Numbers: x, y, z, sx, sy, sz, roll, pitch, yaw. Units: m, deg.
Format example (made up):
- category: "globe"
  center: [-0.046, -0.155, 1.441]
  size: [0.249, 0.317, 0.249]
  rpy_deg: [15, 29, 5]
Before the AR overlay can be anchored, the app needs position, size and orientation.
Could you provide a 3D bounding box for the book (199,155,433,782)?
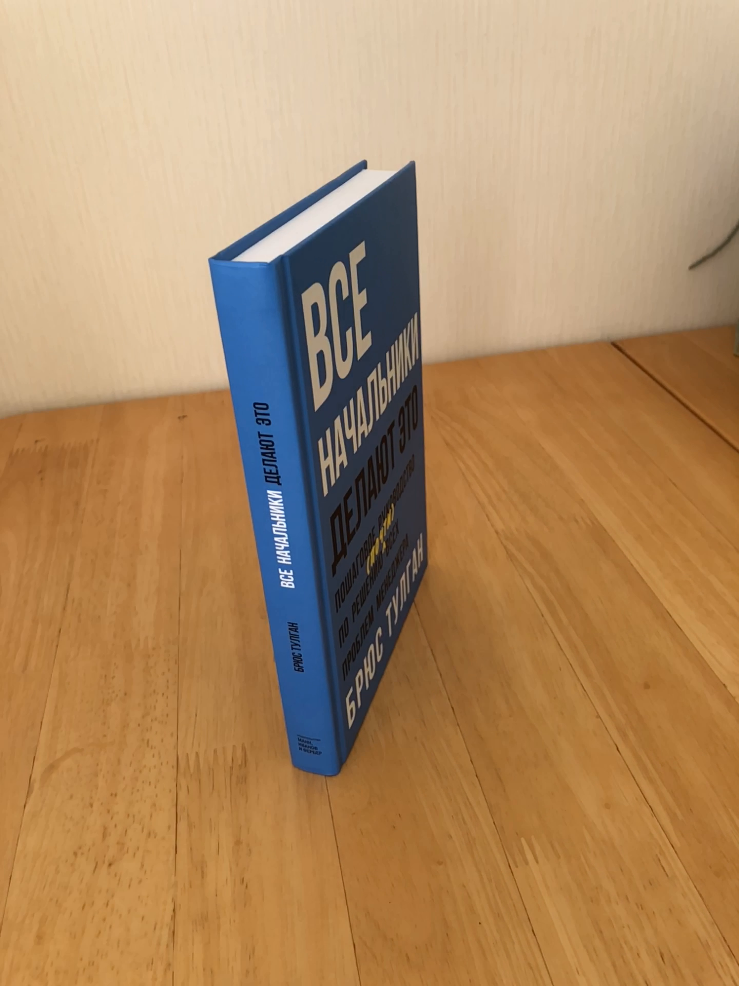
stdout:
- category: "book"
  center: [-0.006, -0.014, 0.338]
  size: [0.025, 0.207, 0.151]
  rpy_deg: [6, 33, 17]
